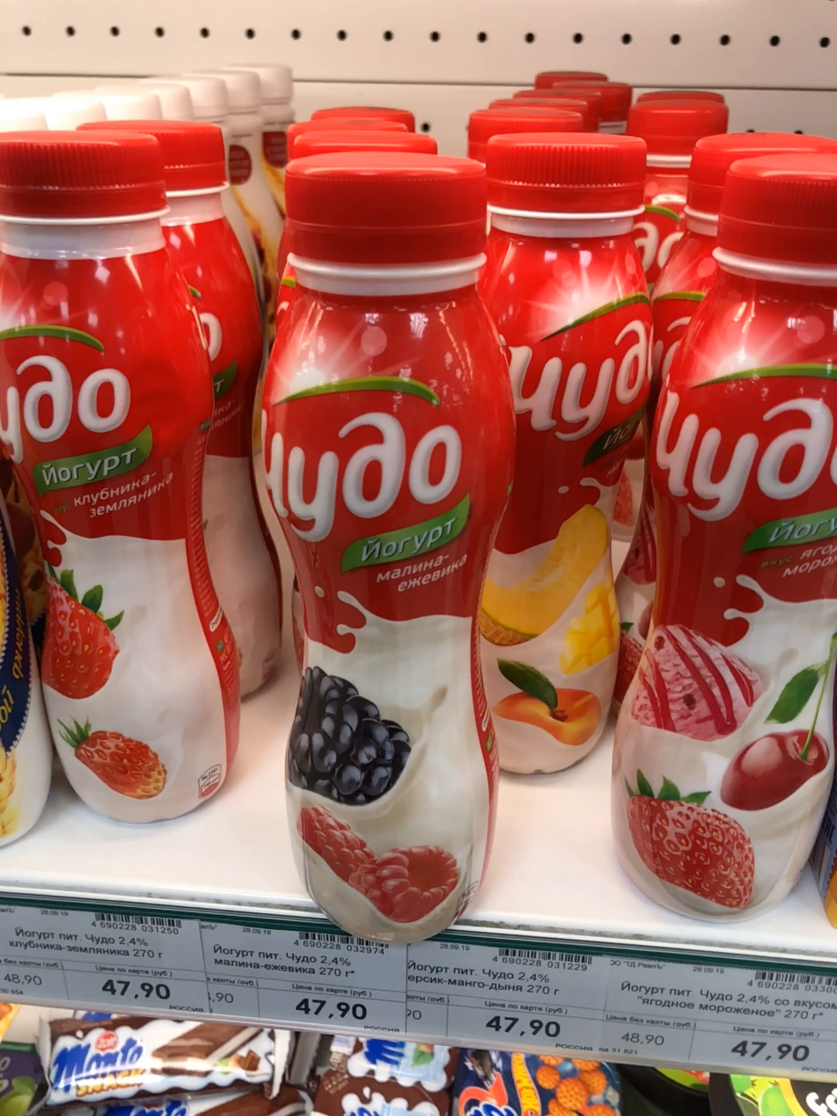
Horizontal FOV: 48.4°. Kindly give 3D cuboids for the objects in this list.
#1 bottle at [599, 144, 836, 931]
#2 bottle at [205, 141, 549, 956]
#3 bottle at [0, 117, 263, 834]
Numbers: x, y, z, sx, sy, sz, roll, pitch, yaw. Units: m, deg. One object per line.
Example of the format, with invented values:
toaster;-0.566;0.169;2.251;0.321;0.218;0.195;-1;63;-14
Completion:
bottle;0.080;0.003;0.223;0.054;0.181;0.050;0;28;0
bottle;-0.005;0.005;0.216;0.054;0.181;0.050;0;28;0
bottle;-0.081;-0.015;0.248;0.054;0.181;0.050;0;28;0
